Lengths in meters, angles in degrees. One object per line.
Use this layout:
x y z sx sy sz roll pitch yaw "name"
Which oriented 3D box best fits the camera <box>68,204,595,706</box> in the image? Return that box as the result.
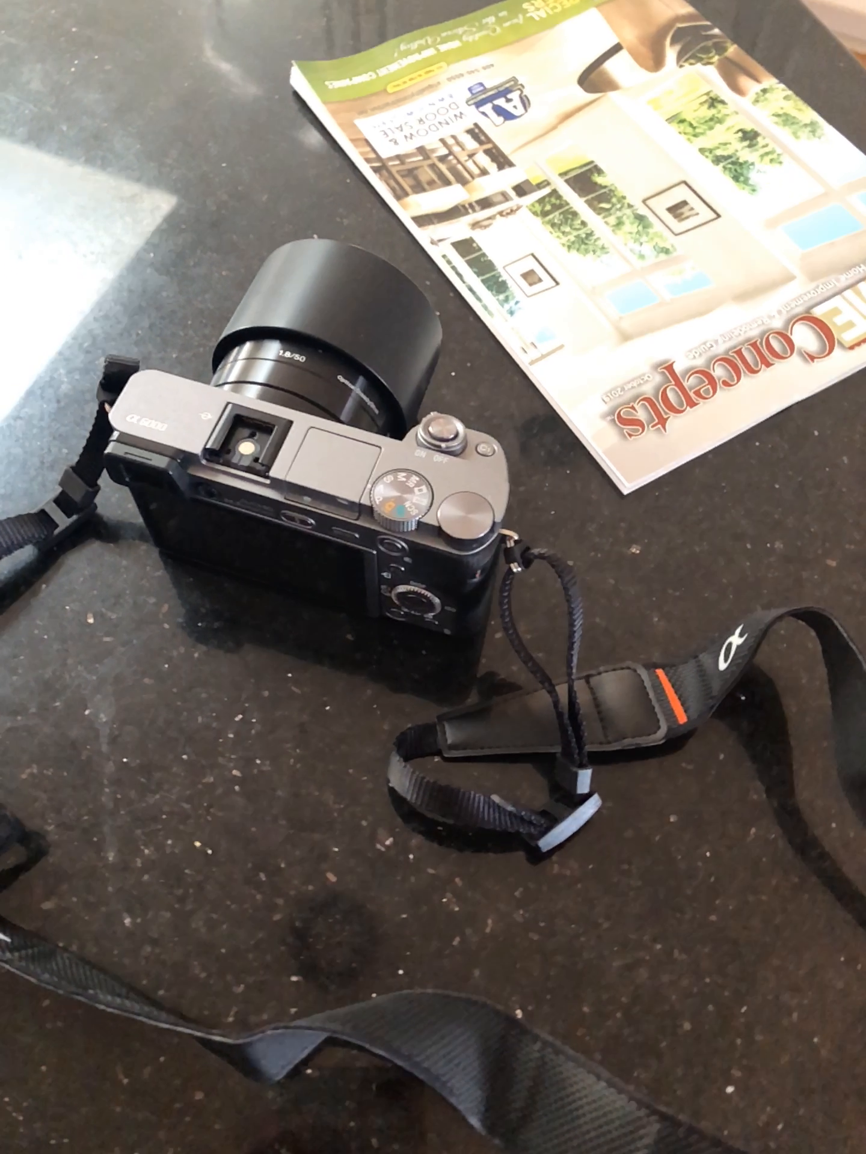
-0.028 -0.038 0.326 0.127 0.100 0.099 18 63 7 "camera"
